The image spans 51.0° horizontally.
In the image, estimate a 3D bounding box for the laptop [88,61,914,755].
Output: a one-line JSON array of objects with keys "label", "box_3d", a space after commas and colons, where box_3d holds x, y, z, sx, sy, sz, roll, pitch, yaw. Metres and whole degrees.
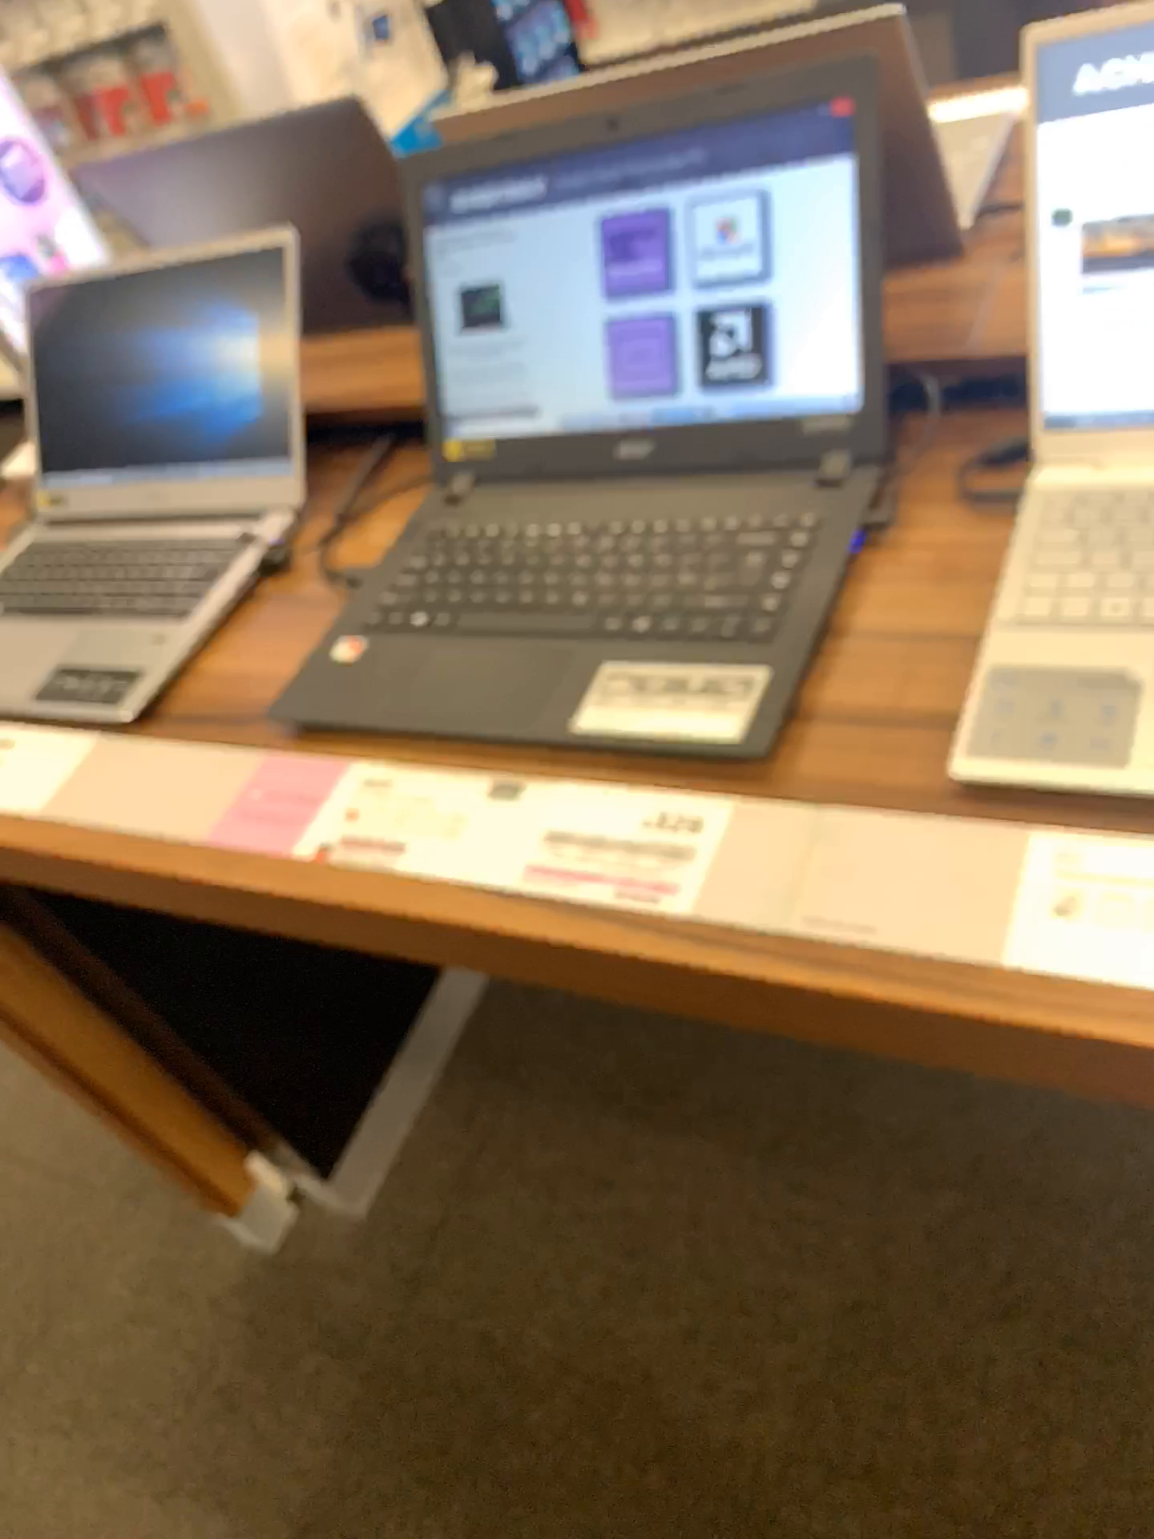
[{"label": "laptop", "box_3d": [-0.015, -0.214, 0.714, 0.325, 0.193, 0.356, 5, 49, 29]}]
